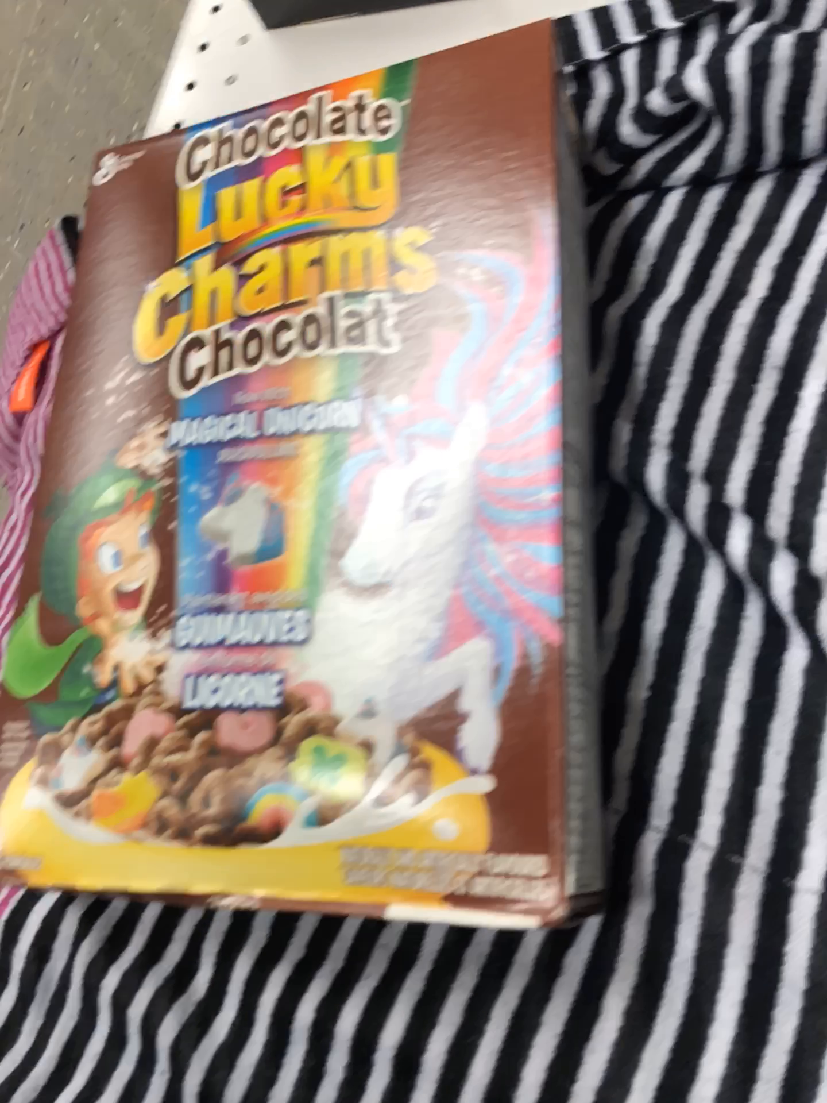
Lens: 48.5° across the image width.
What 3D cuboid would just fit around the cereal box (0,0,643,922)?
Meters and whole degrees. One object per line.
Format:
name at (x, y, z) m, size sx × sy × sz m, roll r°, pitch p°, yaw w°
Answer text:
cereal box at (-0.041, -0.038, 0.313) m, size 0.211 × 0.060 × 0.290 m, roll -5°, pitch 73°, yaw 21°
